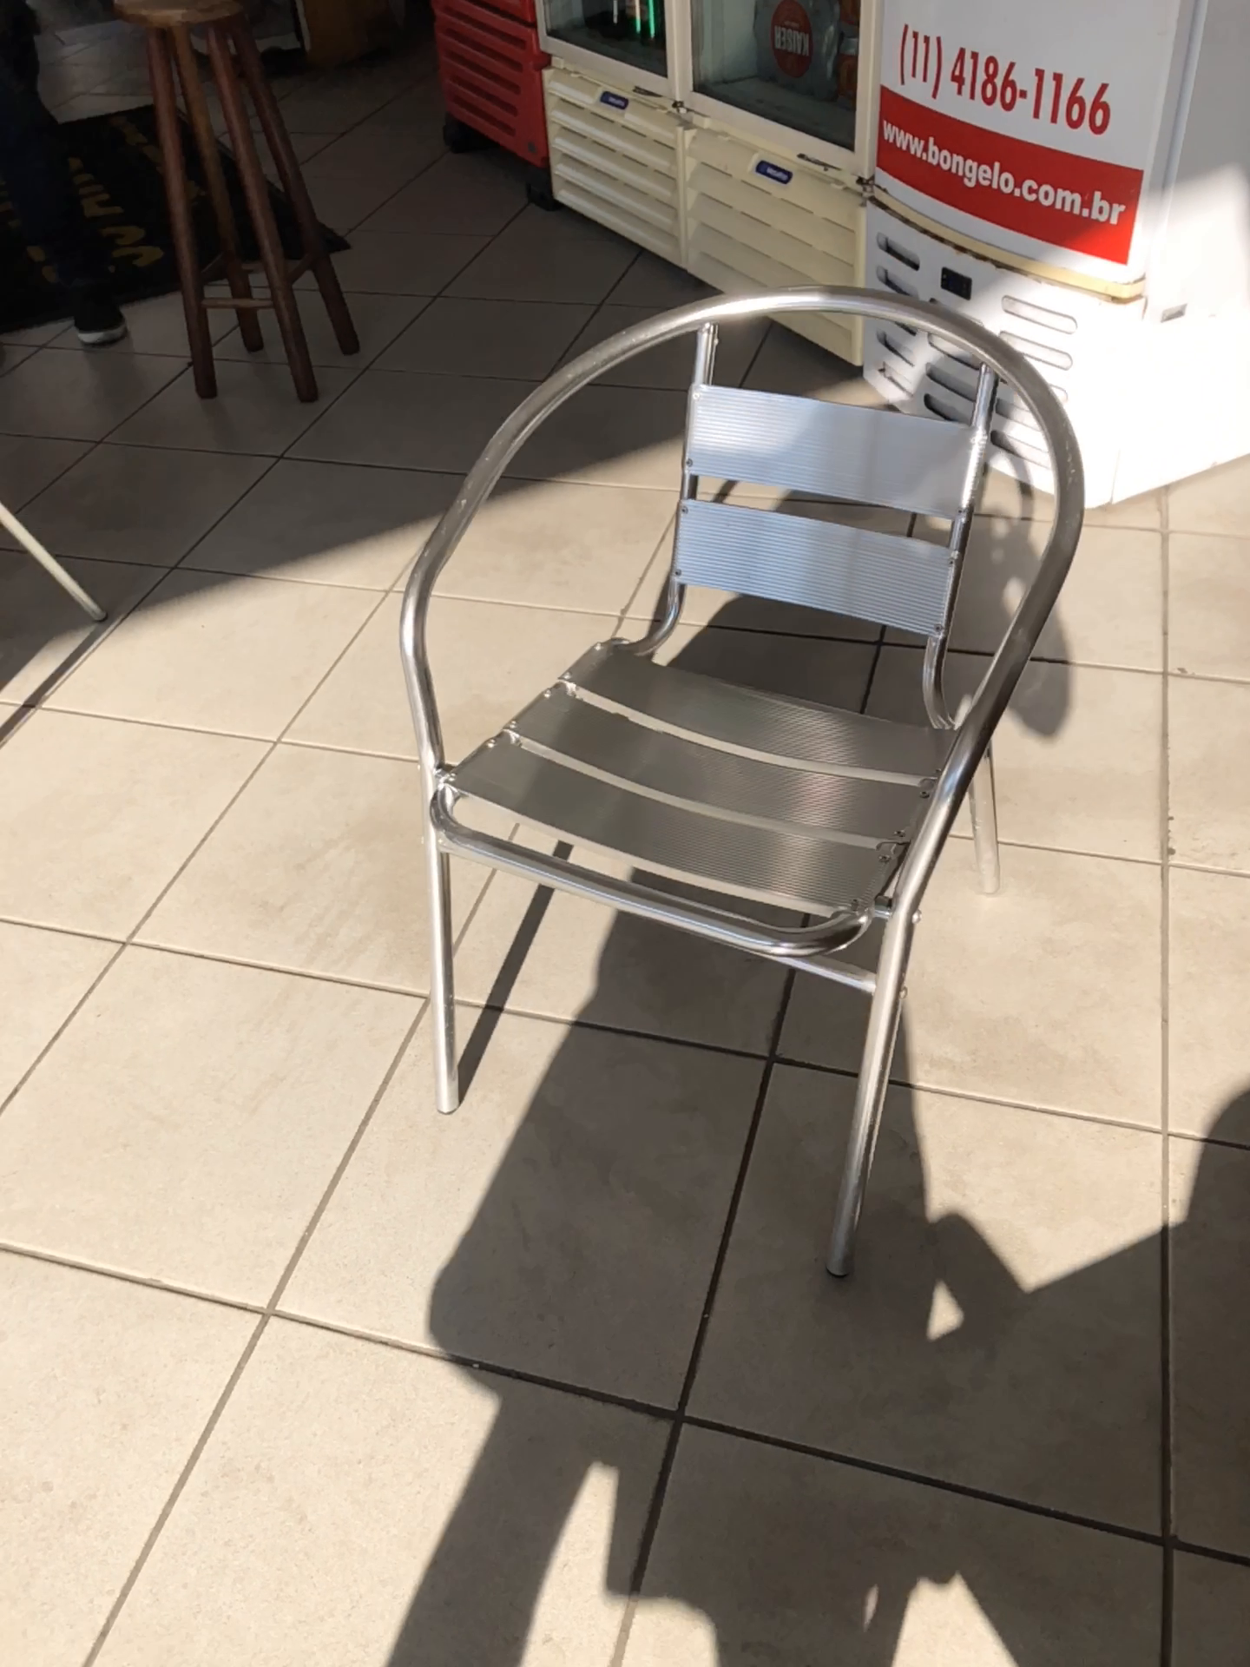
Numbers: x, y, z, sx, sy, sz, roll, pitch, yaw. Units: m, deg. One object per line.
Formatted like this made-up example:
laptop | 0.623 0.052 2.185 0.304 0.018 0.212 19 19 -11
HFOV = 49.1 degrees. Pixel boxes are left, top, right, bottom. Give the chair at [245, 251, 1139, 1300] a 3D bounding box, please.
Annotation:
chair | 0.113 -0.087 1.365 0.521 0.705 0.633 16 45 23
